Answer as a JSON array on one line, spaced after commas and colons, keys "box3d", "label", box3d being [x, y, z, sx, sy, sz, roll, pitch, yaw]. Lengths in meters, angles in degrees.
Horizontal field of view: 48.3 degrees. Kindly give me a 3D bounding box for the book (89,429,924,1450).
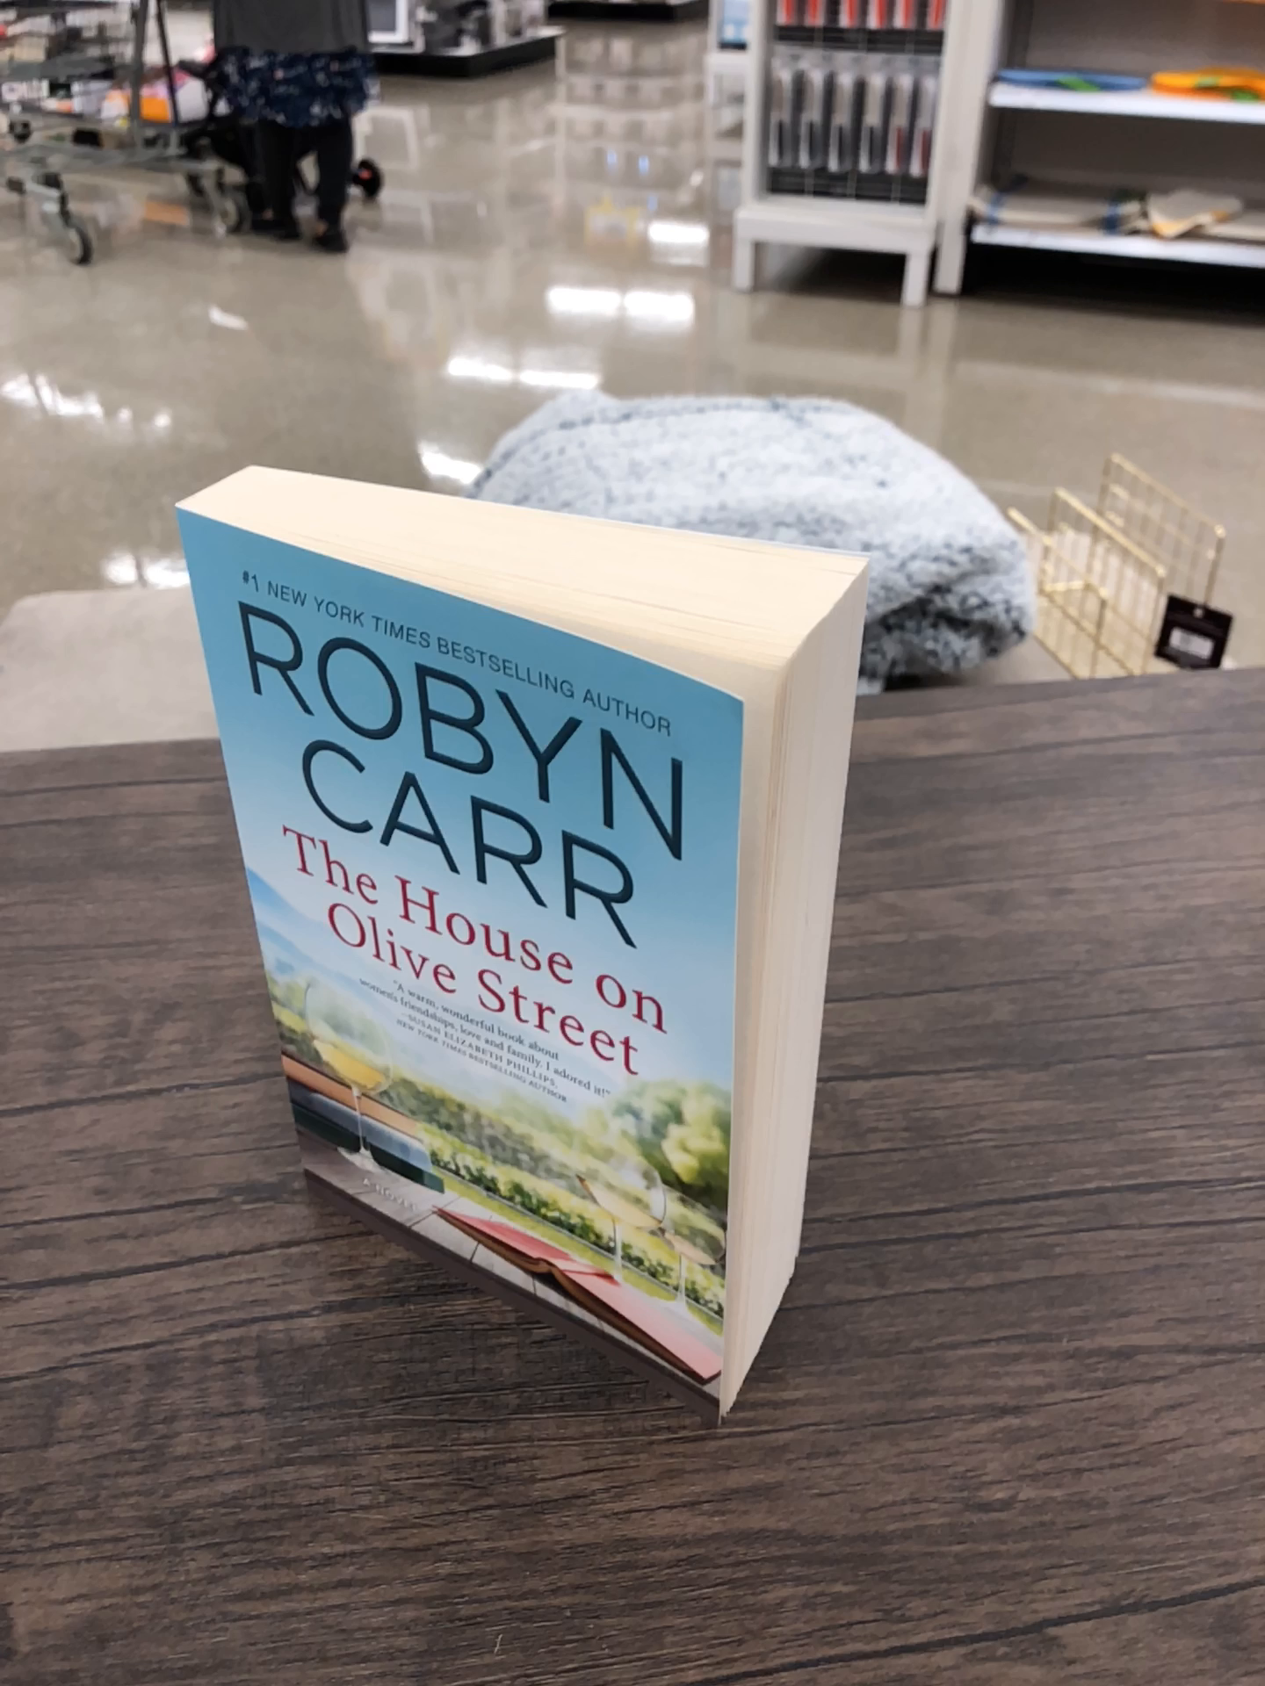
[{"box3d": [-0.025, 0.025, 0.310, 0.146, 0.195, 0.050, 18, 39, 24], "label": "book"}]
